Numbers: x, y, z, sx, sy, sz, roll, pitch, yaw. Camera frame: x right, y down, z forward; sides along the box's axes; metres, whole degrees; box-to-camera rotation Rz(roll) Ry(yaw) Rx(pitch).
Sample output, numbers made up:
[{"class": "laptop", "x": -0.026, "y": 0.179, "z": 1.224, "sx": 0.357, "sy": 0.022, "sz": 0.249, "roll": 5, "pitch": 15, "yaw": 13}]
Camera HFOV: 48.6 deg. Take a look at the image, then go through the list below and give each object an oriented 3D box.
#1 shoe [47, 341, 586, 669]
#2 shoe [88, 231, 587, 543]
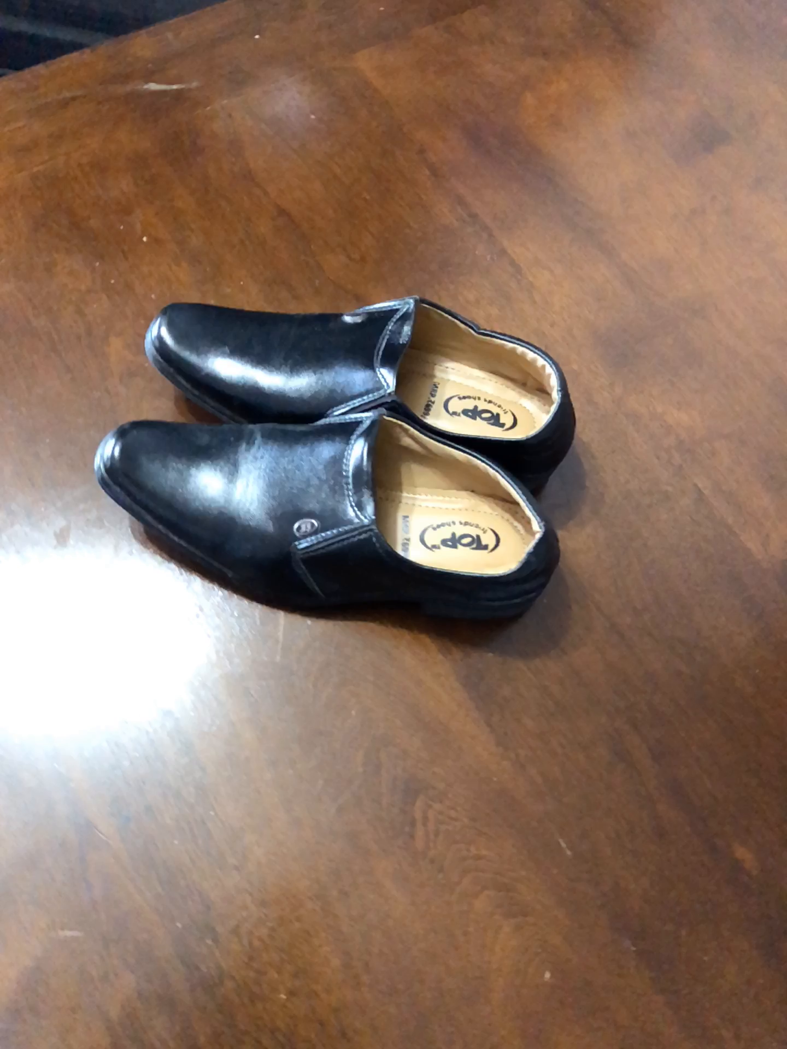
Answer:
[{"class": "shoe", "x": -0.033, "y": -0.006, "z": 0.438, "sx": 0.230, "sy": 0.090, "sz": 0.090, "roll": 12, "pitch": 66, "yaw": 0}, {"class": "shoe", "x": -0.026, "y": -0.069, "z": 0.463, "sx": 0.230, "sy": 0.080, "sz": 0.090, "roll": 12, "pitch": 66, "yaw": 0}]
